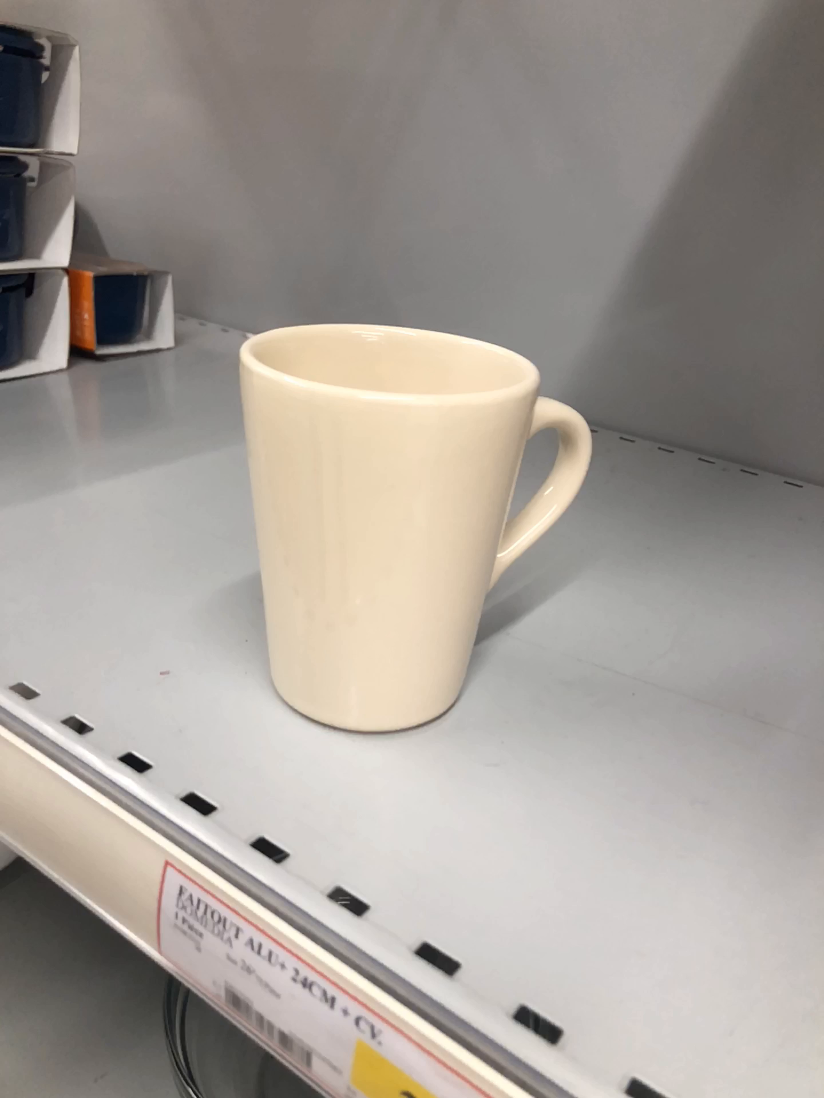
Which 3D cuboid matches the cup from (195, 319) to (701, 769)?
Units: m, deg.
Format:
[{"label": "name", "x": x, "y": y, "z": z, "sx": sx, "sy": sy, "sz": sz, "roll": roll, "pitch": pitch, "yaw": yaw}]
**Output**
[{"label": "cup", "x": 0.003, "y": -0.010, "z": 0.276, "sx": 0.119, "sy": 0.099, "sz": 0.082, "roll": -6, "pitch": 27, "yaw": -23}]
